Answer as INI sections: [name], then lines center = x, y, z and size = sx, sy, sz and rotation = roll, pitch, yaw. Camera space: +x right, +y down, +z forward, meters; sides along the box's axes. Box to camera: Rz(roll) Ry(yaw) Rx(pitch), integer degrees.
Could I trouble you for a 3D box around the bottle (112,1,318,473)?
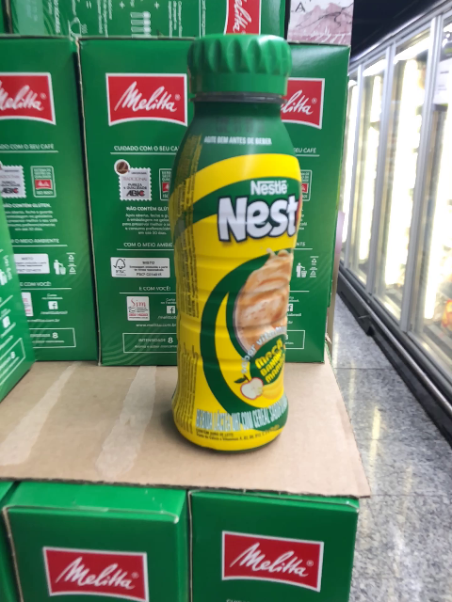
[bottle]
center = -0.006, -0.025, 0.227
size = 0.060, 0.179, 0.060
rotation = 0, 17, 0
